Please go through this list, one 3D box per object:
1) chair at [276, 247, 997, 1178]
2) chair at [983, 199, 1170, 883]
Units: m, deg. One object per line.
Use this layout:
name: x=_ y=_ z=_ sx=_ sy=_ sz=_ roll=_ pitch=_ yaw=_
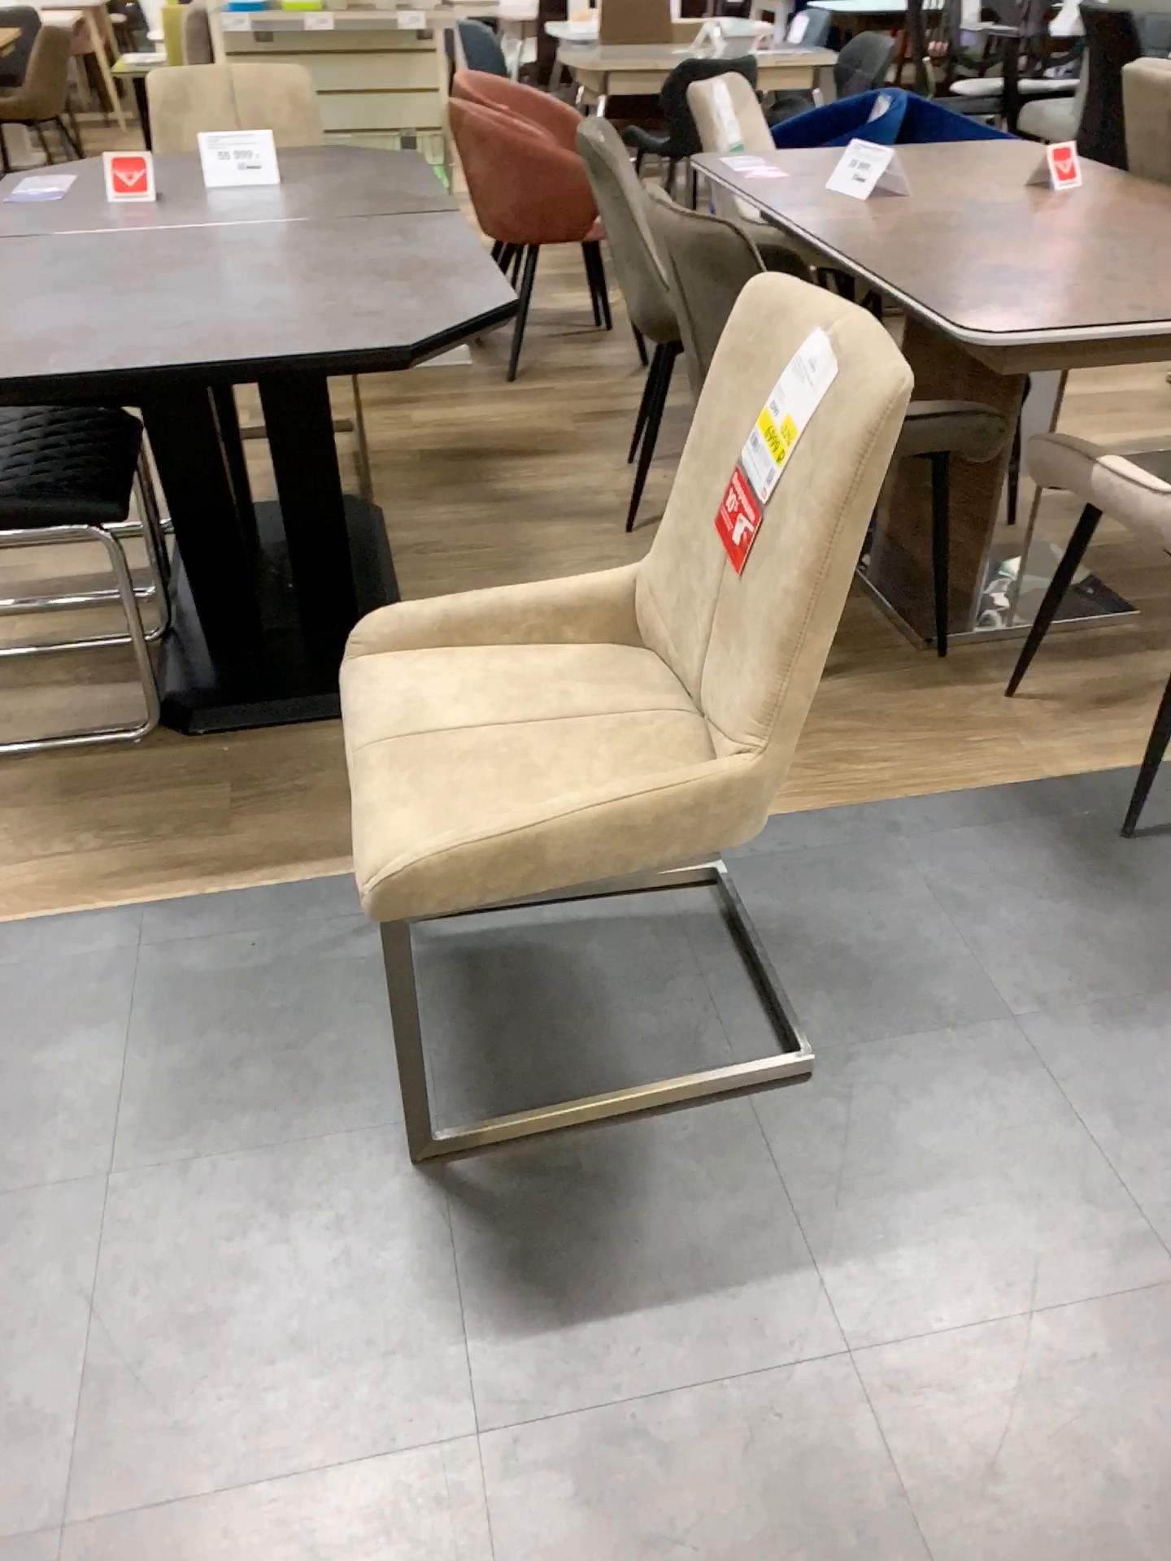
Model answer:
chair: x=0.005 y=-0.080 z=1.406 sx=0.583 sy=0.887 sz=0.512 roll=-8 pitch=36 yaw=-10
chair: x=1.072 y=-0.391 z=1.893 sx=0.480 sy=0.842 sz=0.627 roll=-7 pitch=36 yaw=-9
